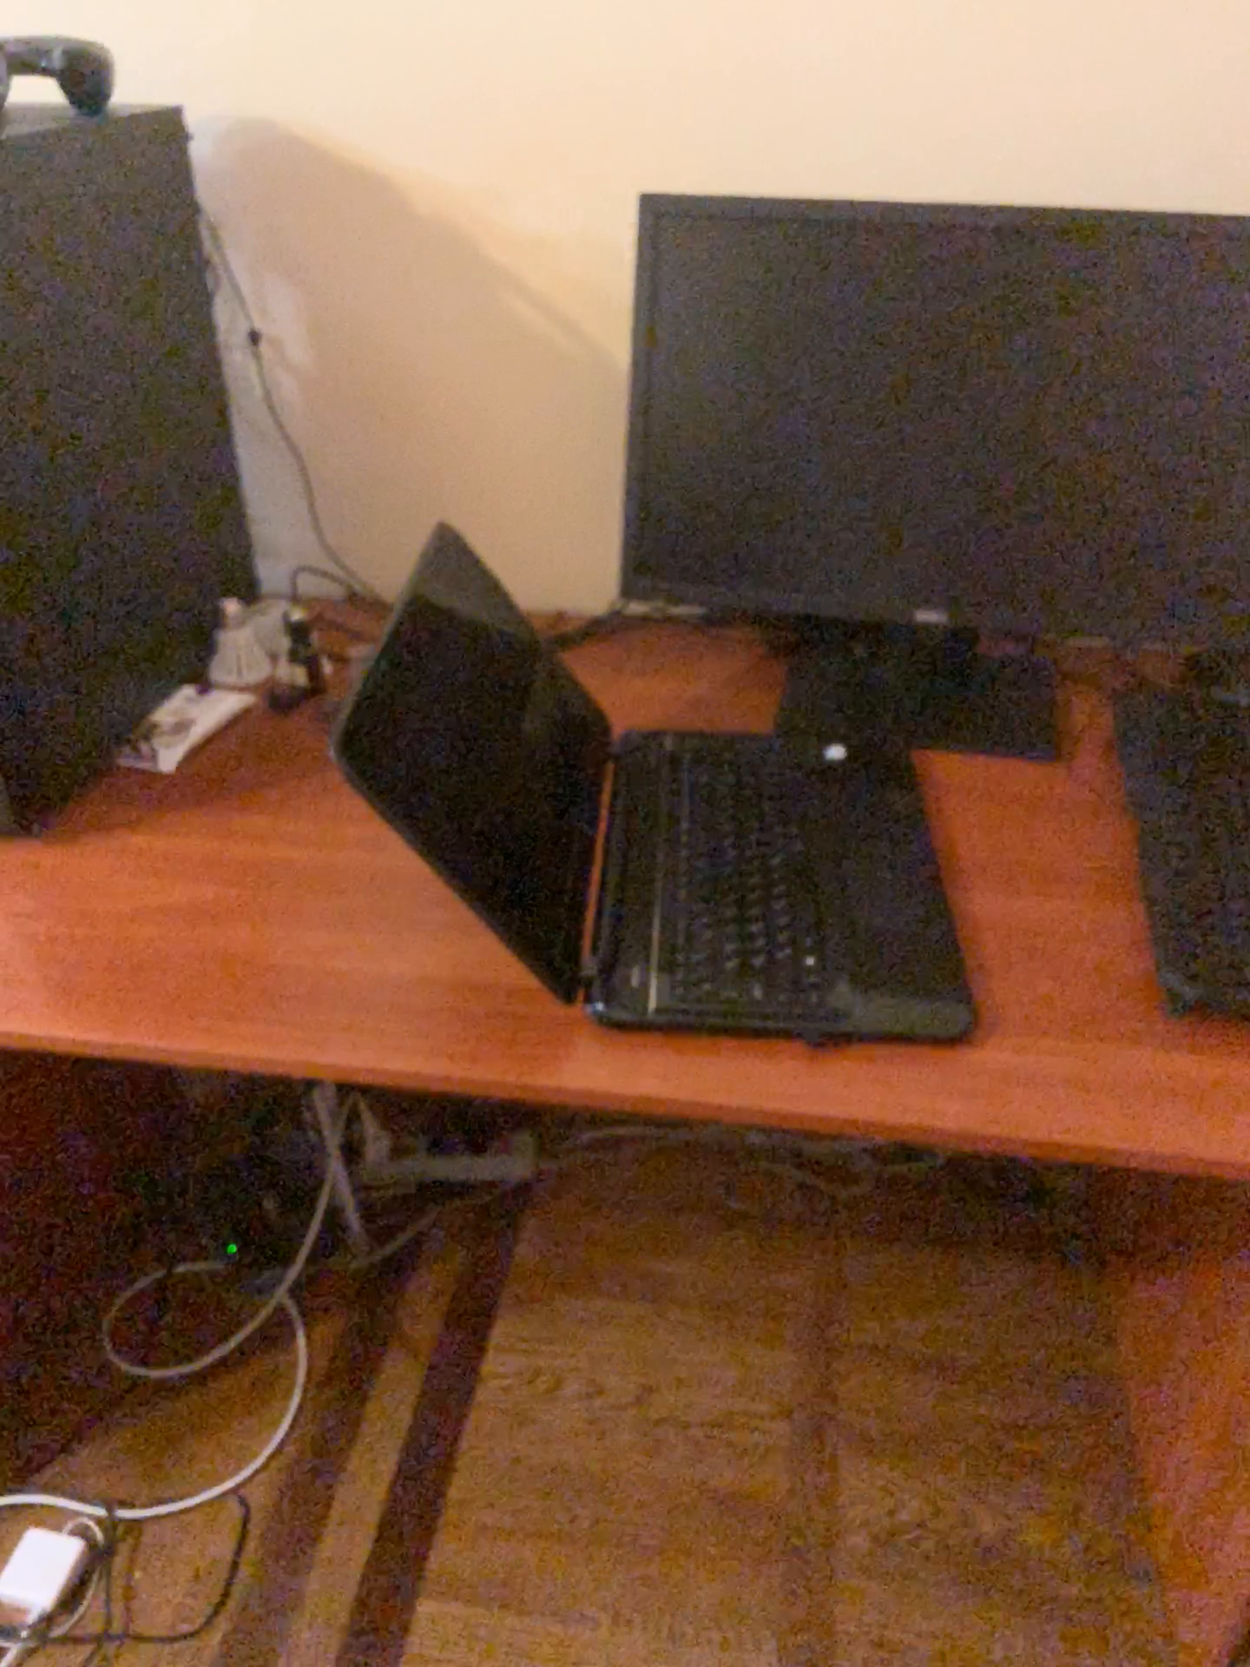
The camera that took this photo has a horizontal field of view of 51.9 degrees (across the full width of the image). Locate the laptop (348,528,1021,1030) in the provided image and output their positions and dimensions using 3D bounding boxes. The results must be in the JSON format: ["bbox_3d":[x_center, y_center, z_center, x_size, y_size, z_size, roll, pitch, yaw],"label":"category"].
[{"bbox_3d":[0.038,-0.062,0.902,0.368,0.181,0.368,1,33,4],"label":"laptop"}]
